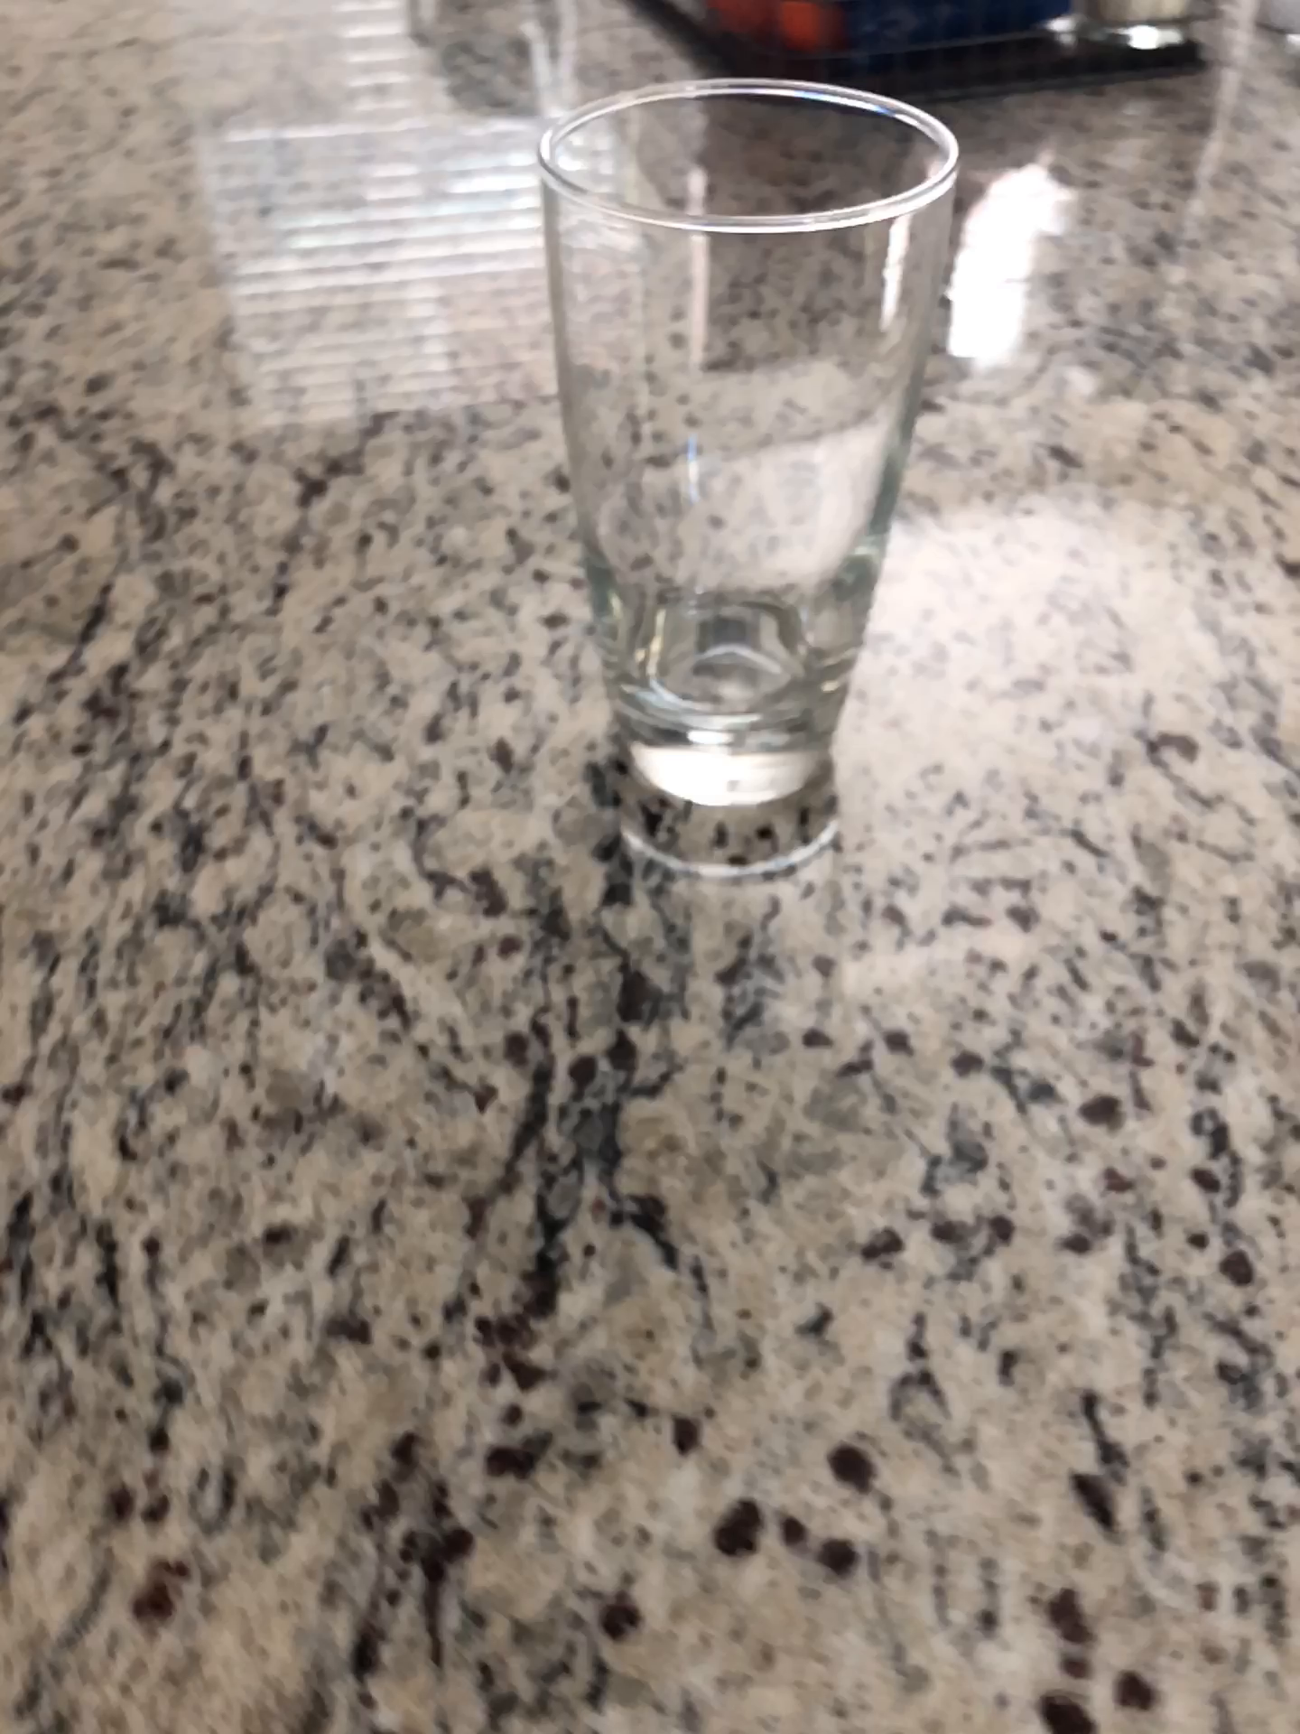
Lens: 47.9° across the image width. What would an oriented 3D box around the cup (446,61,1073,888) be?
[{"bbox_3d":[0.022,-0.087,0.328,0.090,0.139,0.080,30,51,29],"label":"cup"}]
